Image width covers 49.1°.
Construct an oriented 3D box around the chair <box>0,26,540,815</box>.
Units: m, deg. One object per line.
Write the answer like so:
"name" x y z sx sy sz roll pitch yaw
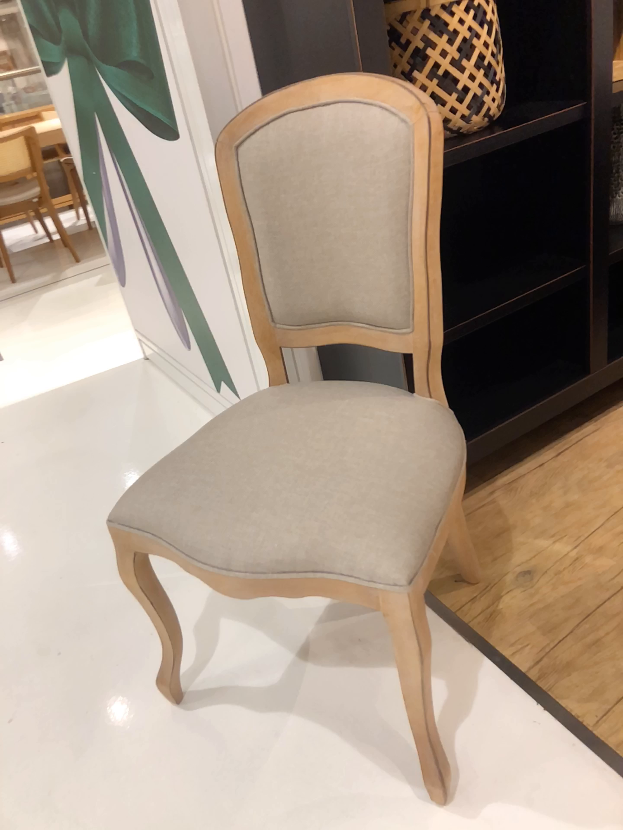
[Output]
"chair" -0.032 -0.011 1.038 0.601 0.874 0.553 5 34 29
